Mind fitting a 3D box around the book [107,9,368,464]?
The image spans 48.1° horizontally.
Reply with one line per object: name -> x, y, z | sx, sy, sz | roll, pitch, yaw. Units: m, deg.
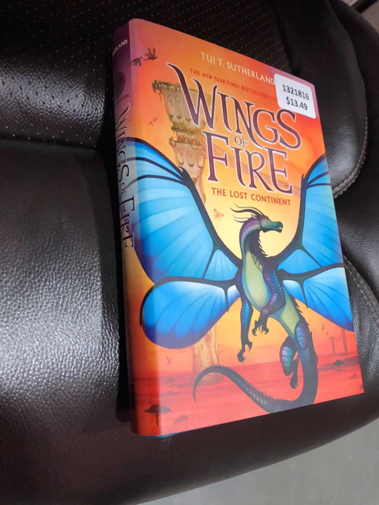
book -> 0.030, -0.012, 0.248 | 0.148, 0.030, 0.218 | 4, 76, -32
